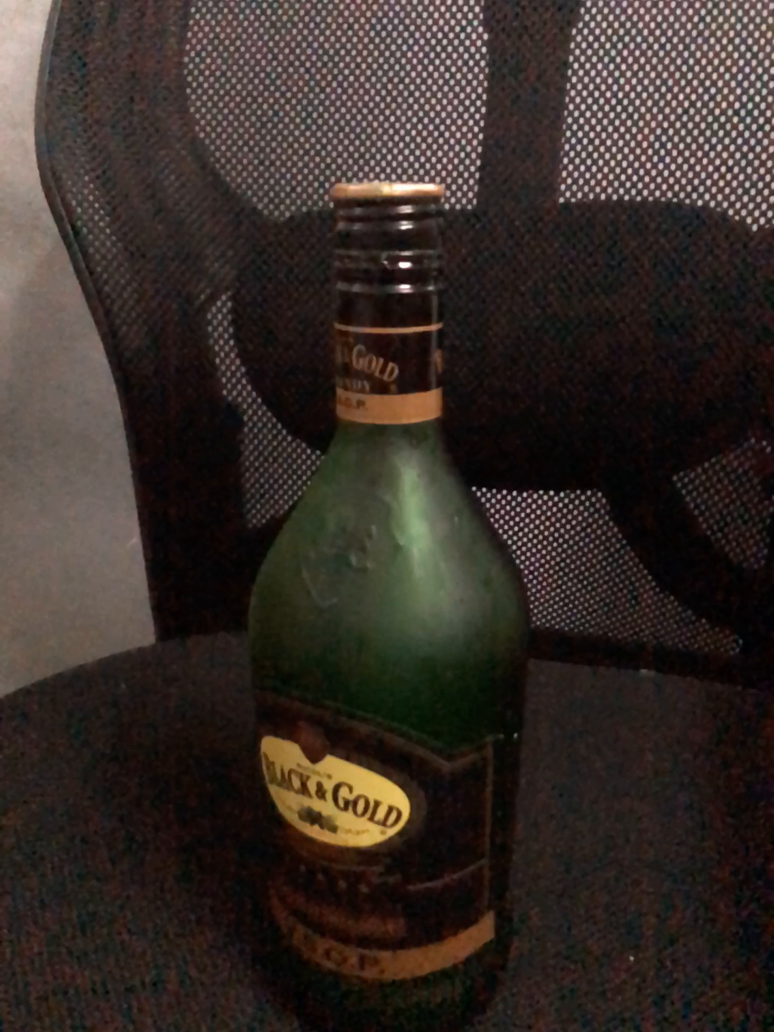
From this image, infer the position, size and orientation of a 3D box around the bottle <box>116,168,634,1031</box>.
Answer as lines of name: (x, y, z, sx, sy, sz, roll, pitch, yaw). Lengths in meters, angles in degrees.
bottle: (-0.005, 0.036, 0.274, 0.110, 0.269, 0.080, 14, 25, 28)
